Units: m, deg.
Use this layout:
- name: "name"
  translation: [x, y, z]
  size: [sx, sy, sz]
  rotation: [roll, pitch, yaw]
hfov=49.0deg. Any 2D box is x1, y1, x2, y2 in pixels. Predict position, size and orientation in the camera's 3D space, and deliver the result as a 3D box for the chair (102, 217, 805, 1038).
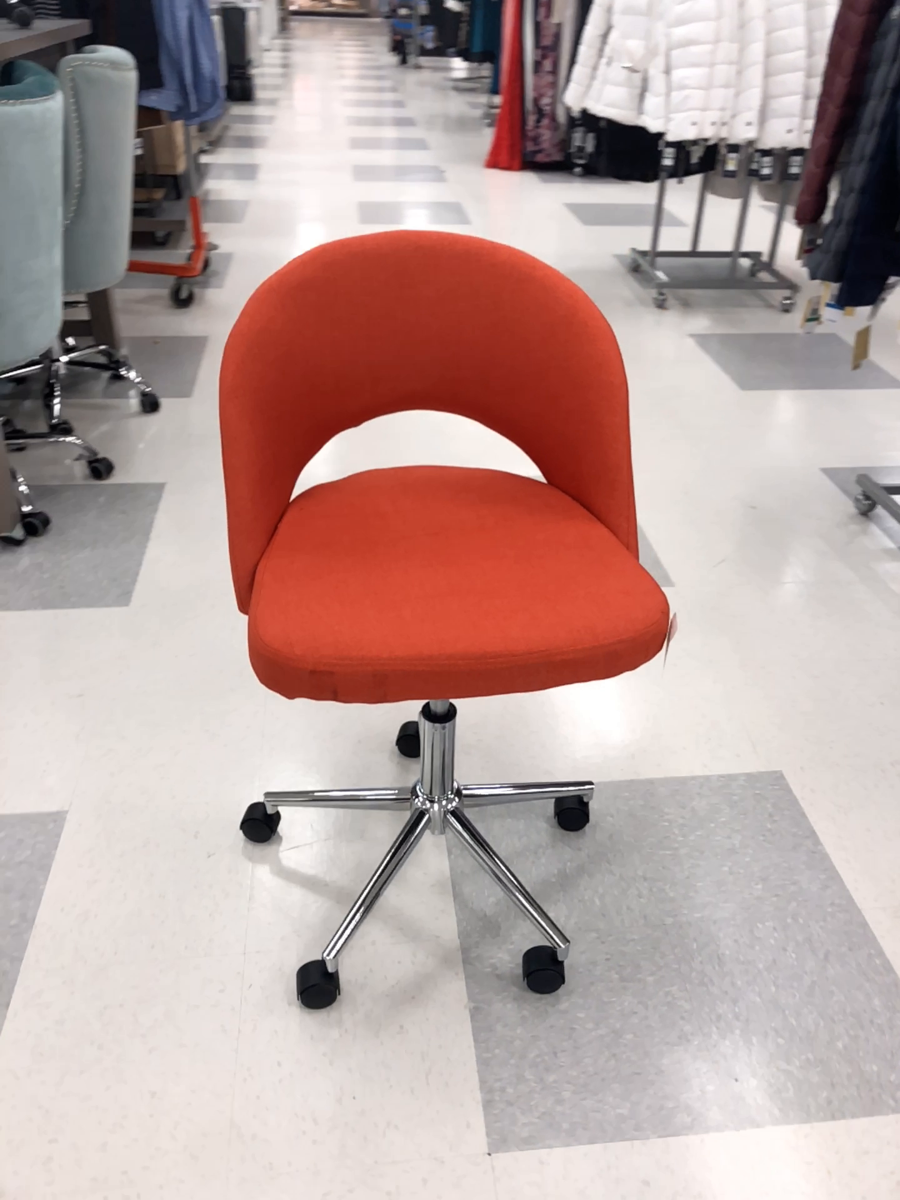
- name: "chair"
  translation: [-0.038, 0.007, 1.311]
  size: [0.600, 0.858, 0.610]
  rotation: [-3, 32, -8]
